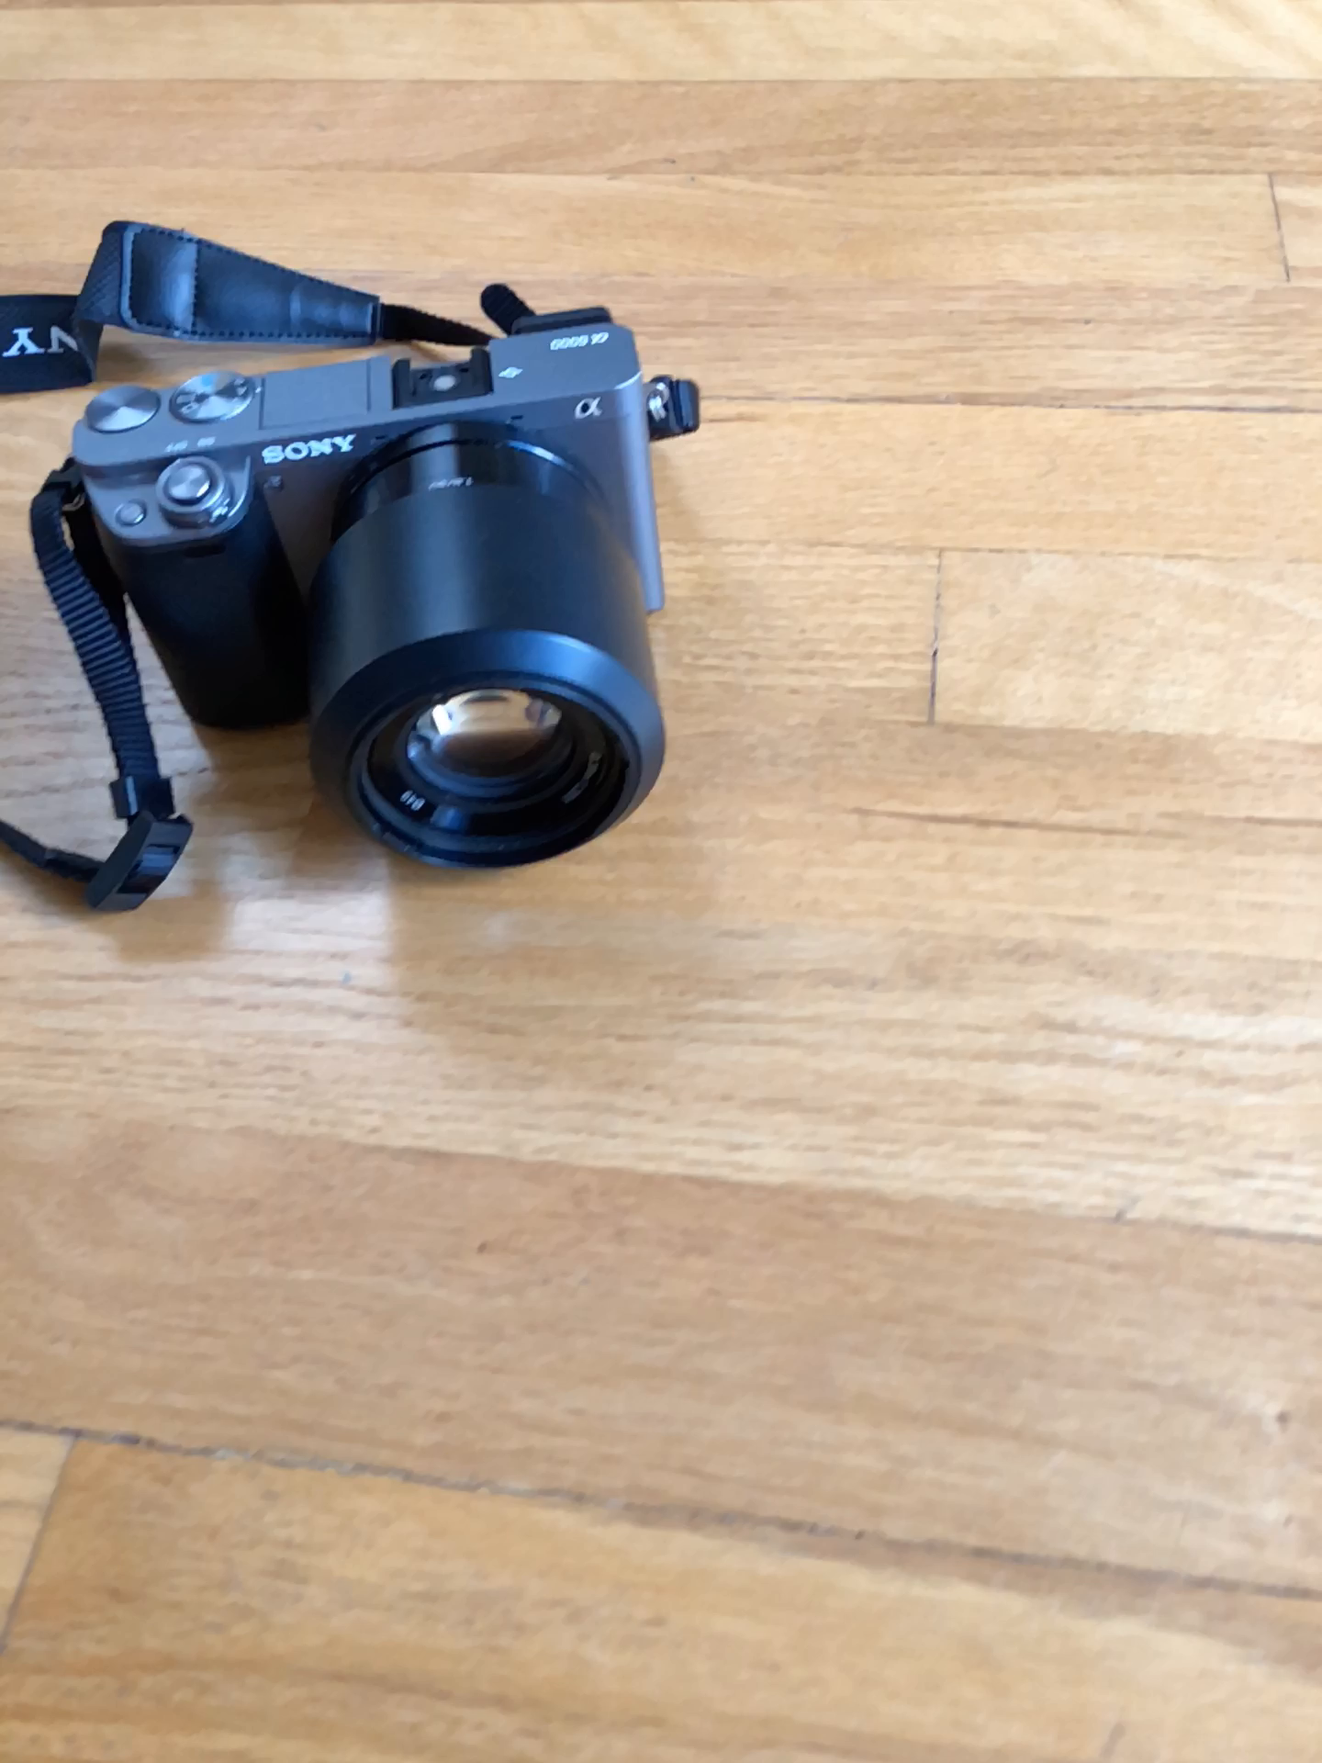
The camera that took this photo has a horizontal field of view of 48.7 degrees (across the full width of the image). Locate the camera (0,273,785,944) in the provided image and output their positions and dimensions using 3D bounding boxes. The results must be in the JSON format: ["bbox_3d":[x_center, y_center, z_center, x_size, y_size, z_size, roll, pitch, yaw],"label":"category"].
[{"bbox_3d":[-0.054,-0.060,0.310,0.140,0.060,0.110,-9,55,-1],"label":"camera"}]
